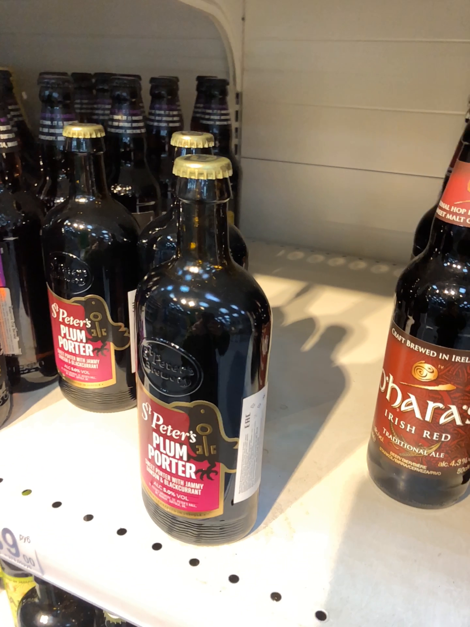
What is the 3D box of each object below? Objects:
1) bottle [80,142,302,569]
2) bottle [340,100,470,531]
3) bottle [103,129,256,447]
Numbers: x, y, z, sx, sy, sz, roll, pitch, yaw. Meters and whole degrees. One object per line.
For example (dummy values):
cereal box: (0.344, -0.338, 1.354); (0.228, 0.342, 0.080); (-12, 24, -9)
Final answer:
bottle: (-0.022, 0.023, 0.279); (0.082, 0.209, 0.058); (14, 27, 25)
bottle: (0.122, 0.002, 0.304); (0.072, 0.231, 0.070); (2, 24, -1)
bottle: (-0.036, -0.017, 0.381); (0.079, 0.213, 0.070); (8, 25, 14)
